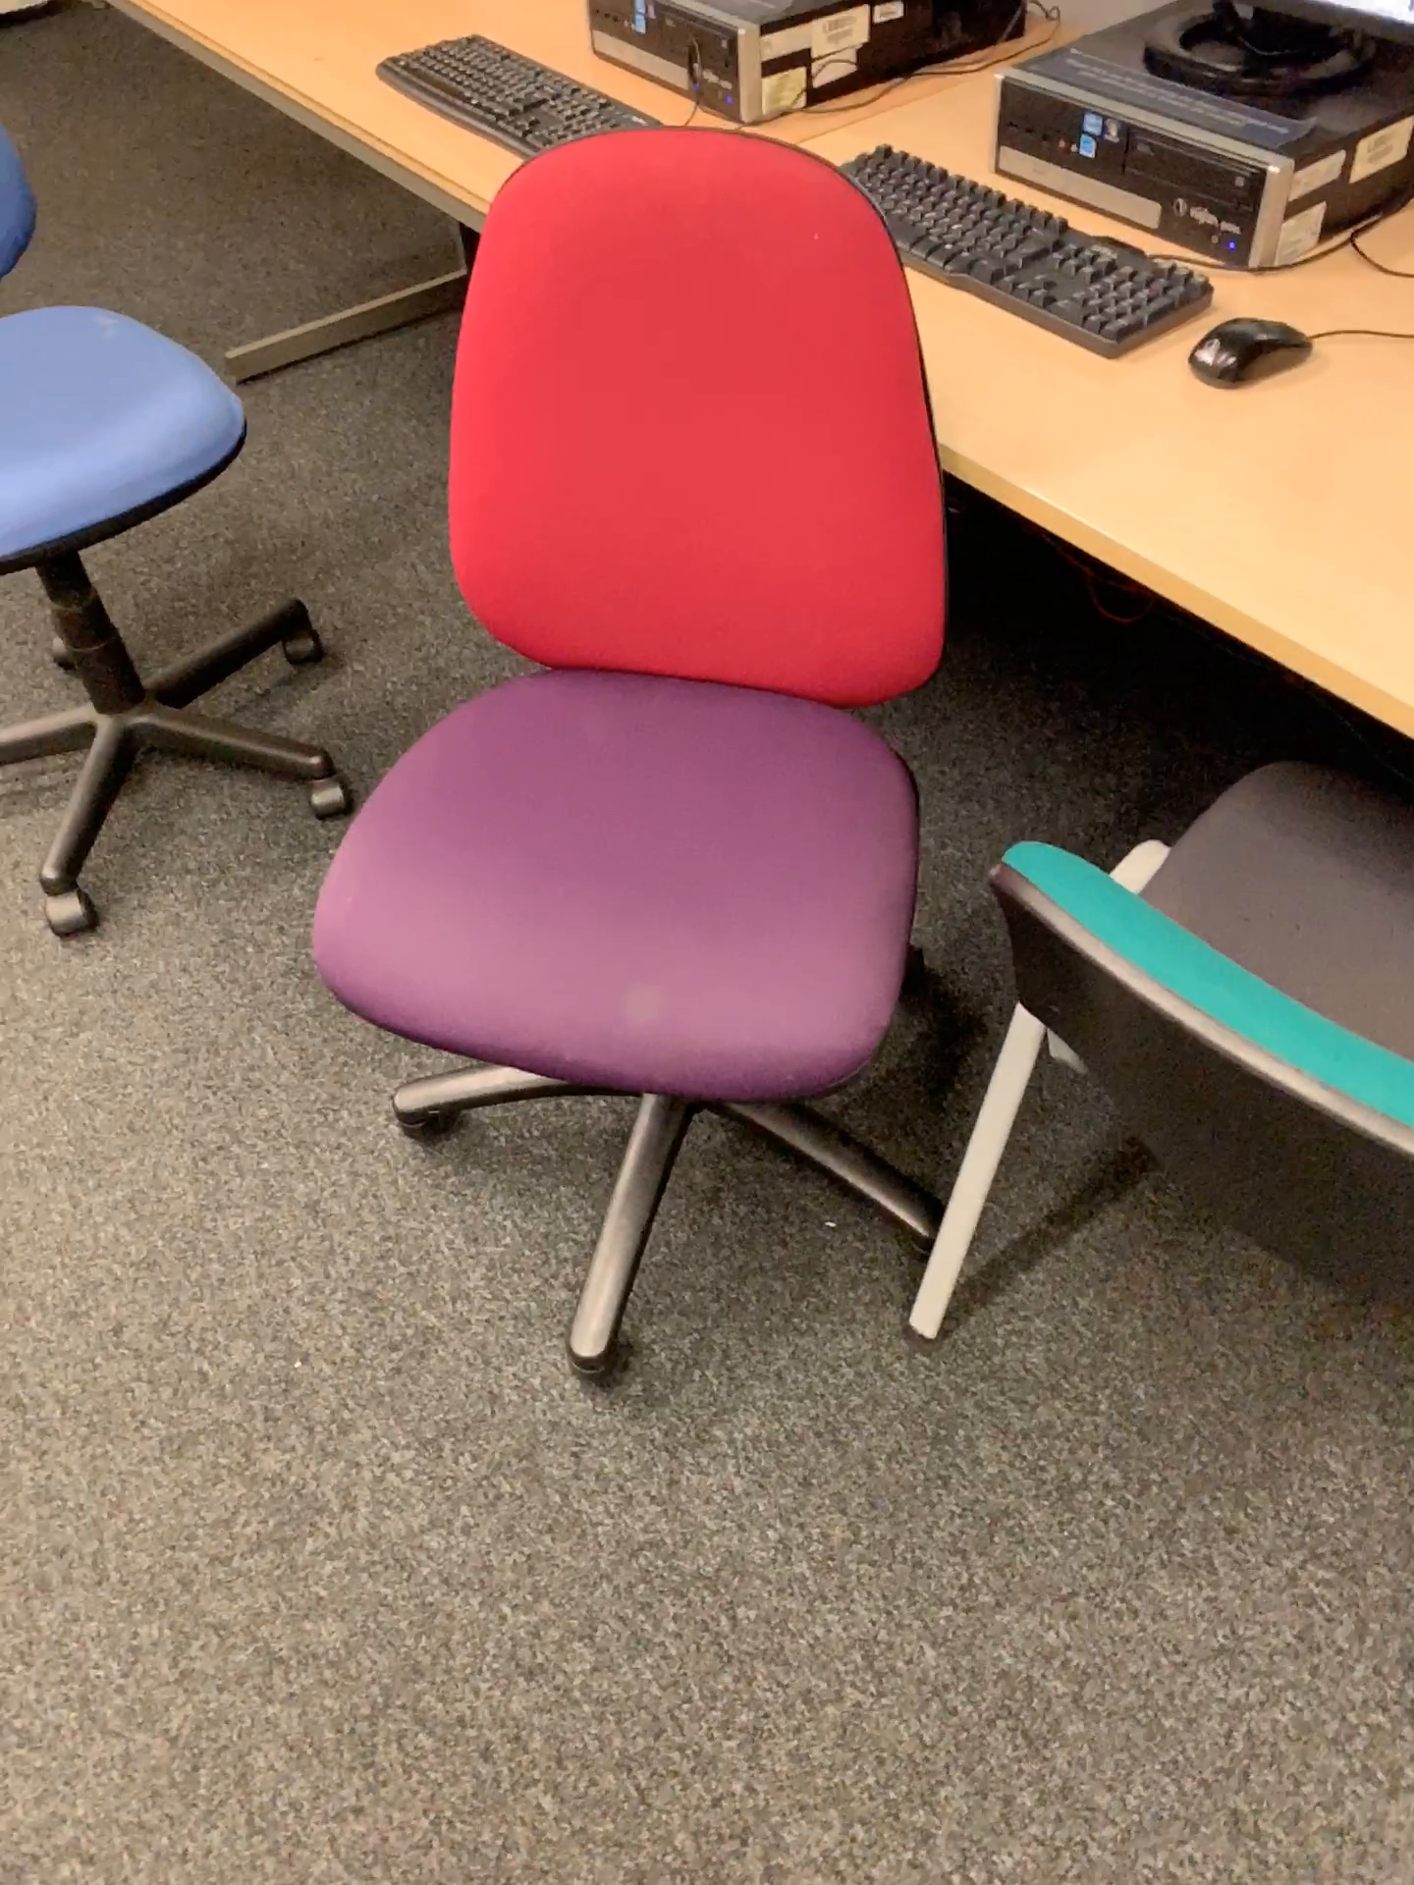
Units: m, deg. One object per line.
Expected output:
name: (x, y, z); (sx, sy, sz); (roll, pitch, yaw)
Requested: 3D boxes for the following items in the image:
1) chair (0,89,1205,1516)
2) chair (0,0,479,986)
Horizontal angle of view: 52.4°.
chair: (-0.054, -0.092, 1.169); (0.654, 0.869, 0.603); (13, 50, 15)
chair: (-0.746, -0.546, 1.611); (0.605, 0.829, 0.602); (-34, 54, -24)
